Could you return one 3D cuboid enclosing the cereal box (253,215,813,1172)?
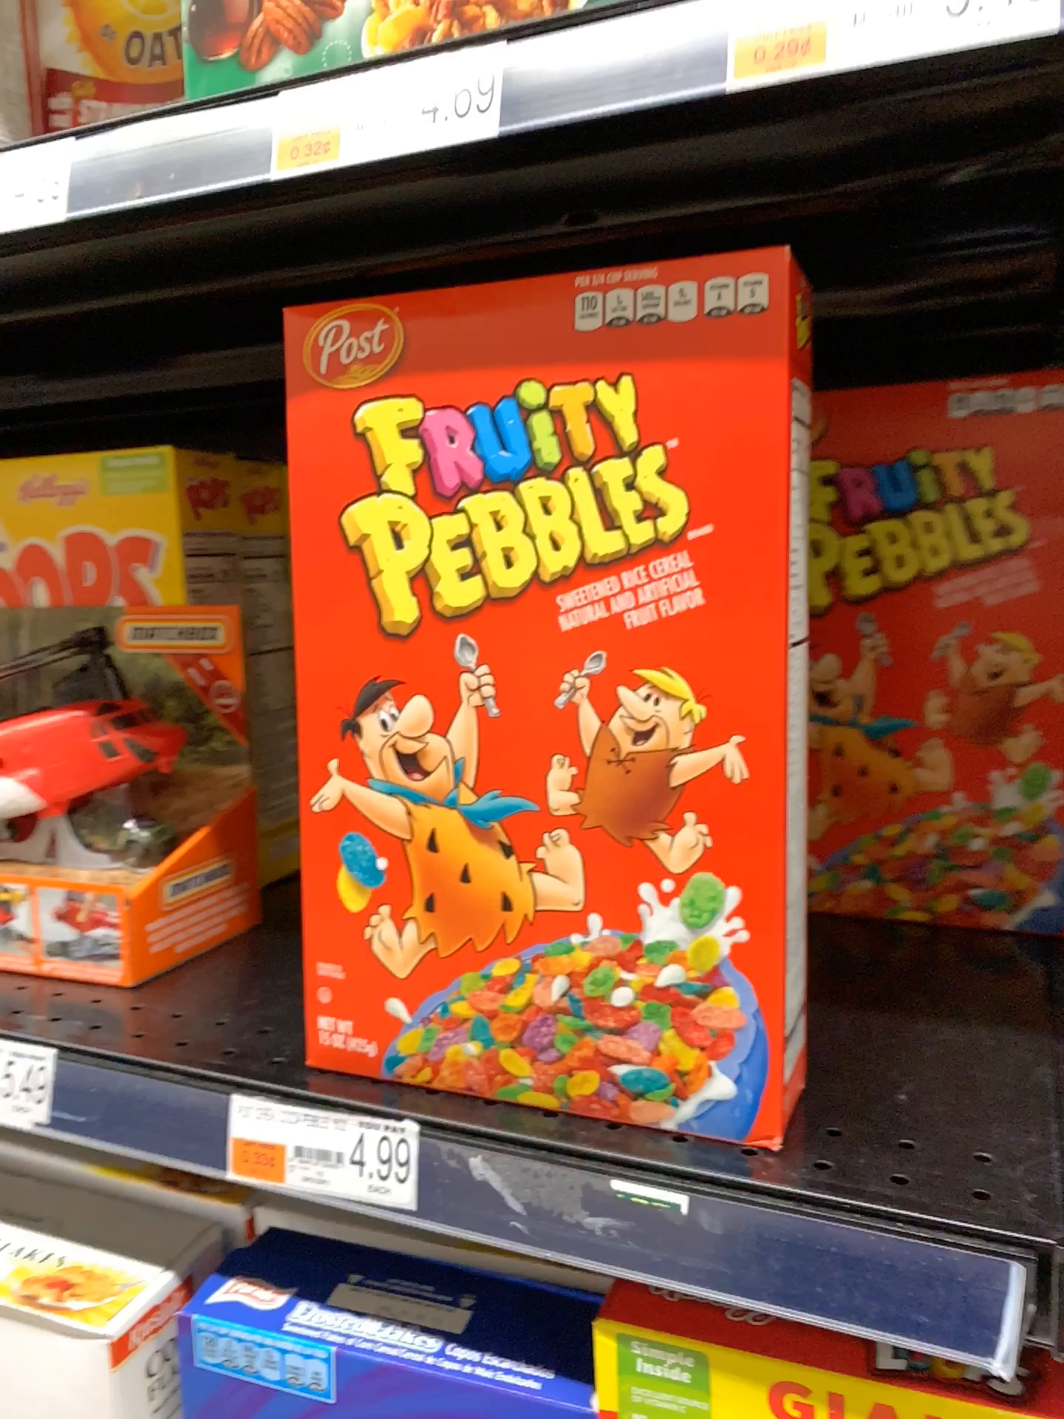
[{"bbox_3d":[0.000,-0.005,0.422,0.200,0.310,0.060,2,6,24],"label":"cereal box"}]
